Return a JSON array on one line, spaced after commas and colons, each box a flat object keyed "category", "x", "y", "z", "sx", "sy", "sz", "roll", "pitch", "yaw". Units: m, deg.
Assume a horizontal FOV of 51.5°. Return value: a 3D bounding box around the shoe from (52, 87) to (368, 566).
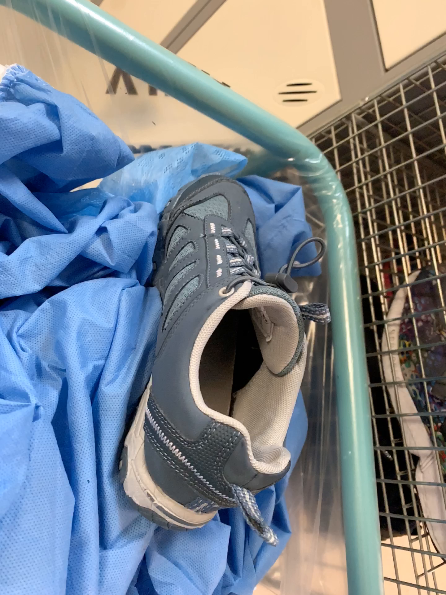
[{"category": "shoe", "x": 0.006, "y": 0.013, "z": 0.288, "sx": 0.102, "sy": 0.109, "sz": 0.241, "roll": 31, "pitch": 58, "yaw": -31}]
